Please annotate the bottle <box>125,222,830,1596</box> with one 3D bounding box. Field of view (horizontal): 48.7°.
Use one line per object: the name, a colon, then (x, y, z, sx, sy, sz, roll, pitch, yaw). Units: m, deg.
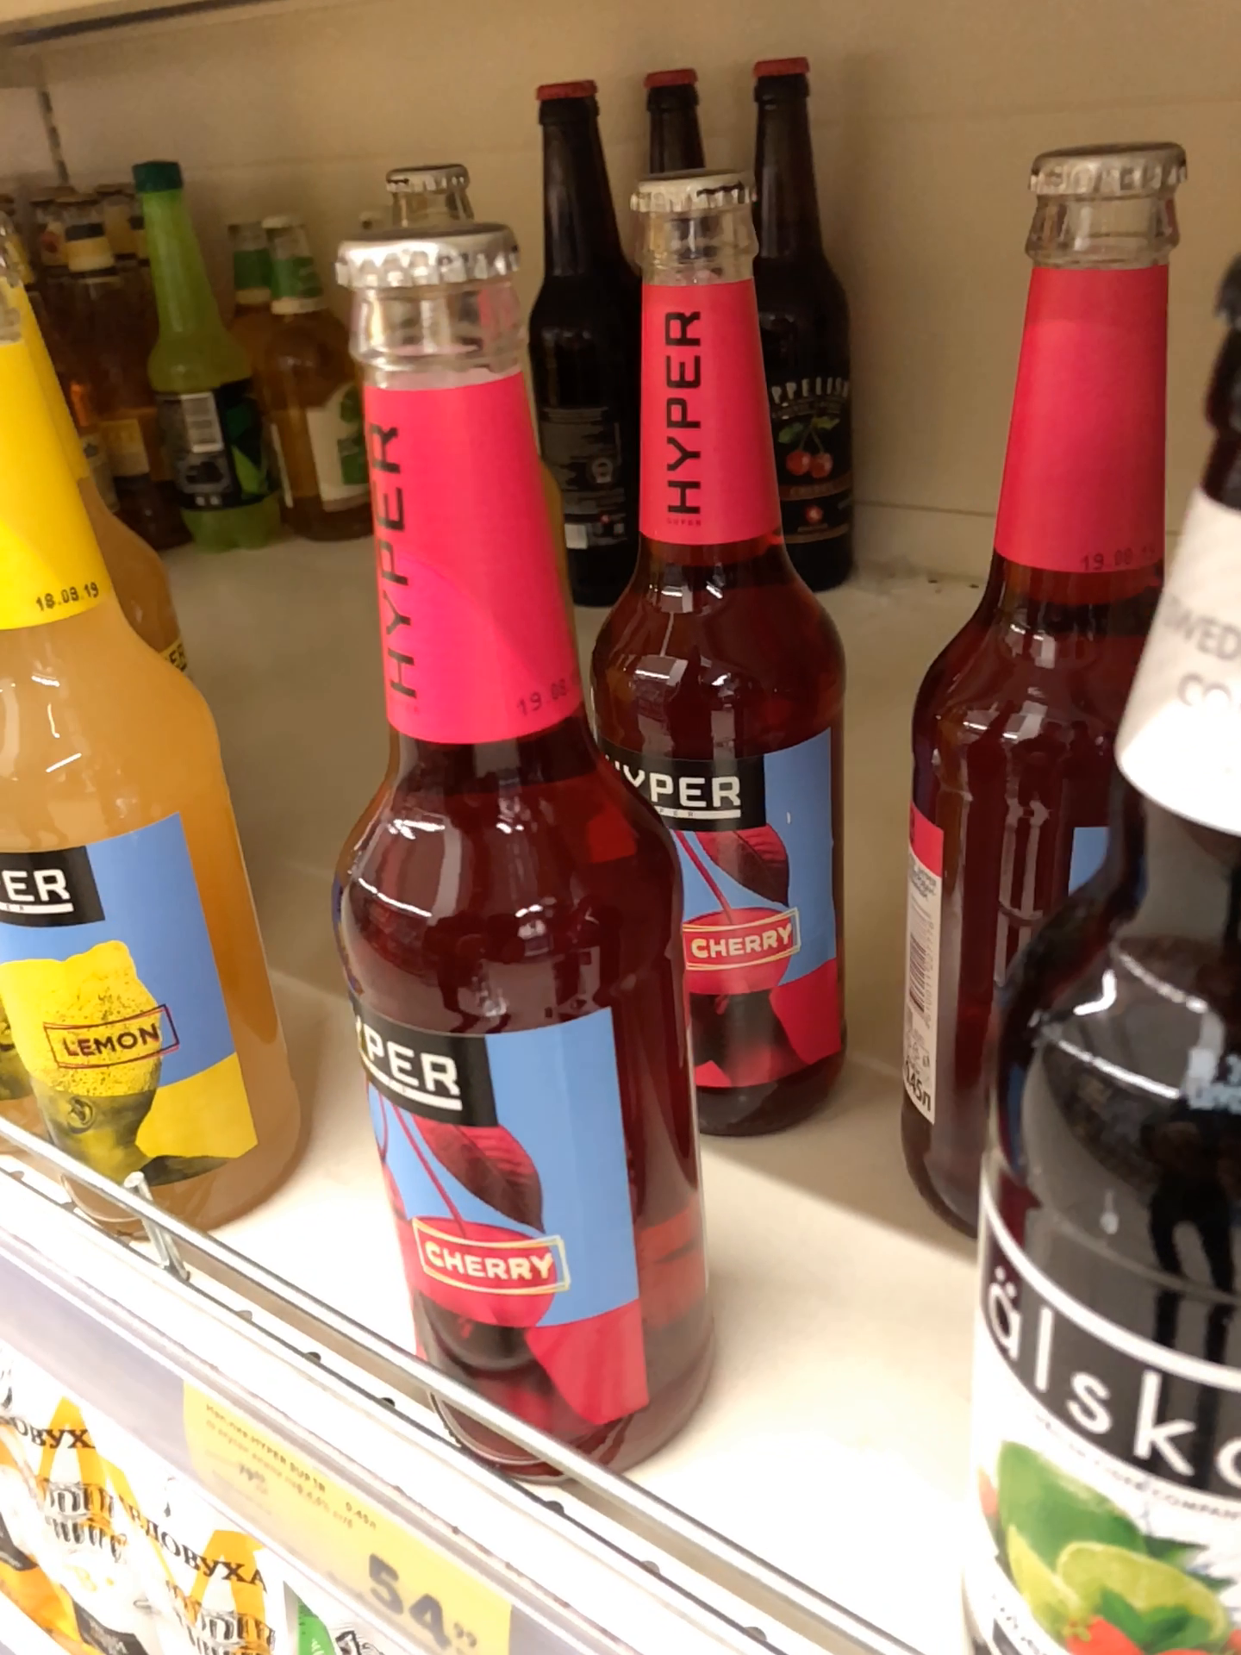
bottle: (-0.015, 0.020, 0.264, 0.070, 0.243, 0.080, -26, 34, -35)
